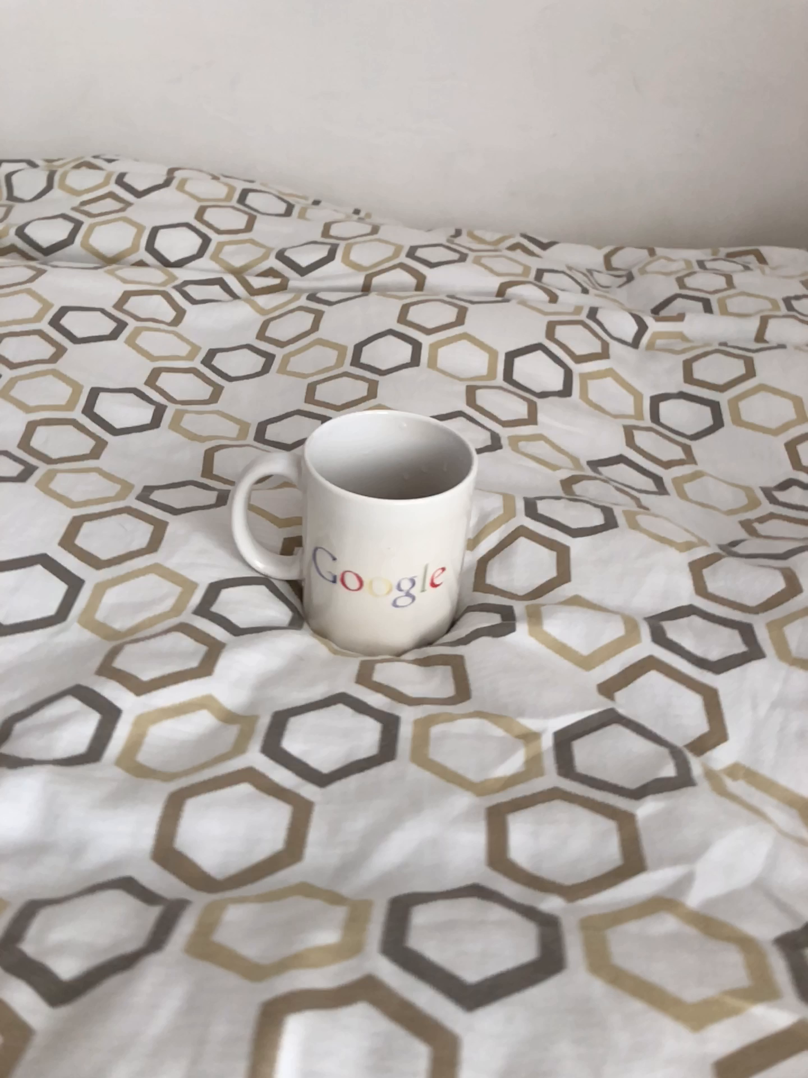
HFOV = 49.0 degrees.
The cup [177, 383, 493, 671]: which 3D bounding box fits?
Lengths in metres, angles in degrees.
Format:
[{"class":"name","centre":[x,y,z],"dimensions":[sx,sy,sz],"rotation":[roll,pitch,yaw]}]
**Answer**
[{"class":"cup","centre":[-0.029,-0.009,0.435],"dimensions":[0.126,0.087,0.087],"rotation":[10,37,10]}]
